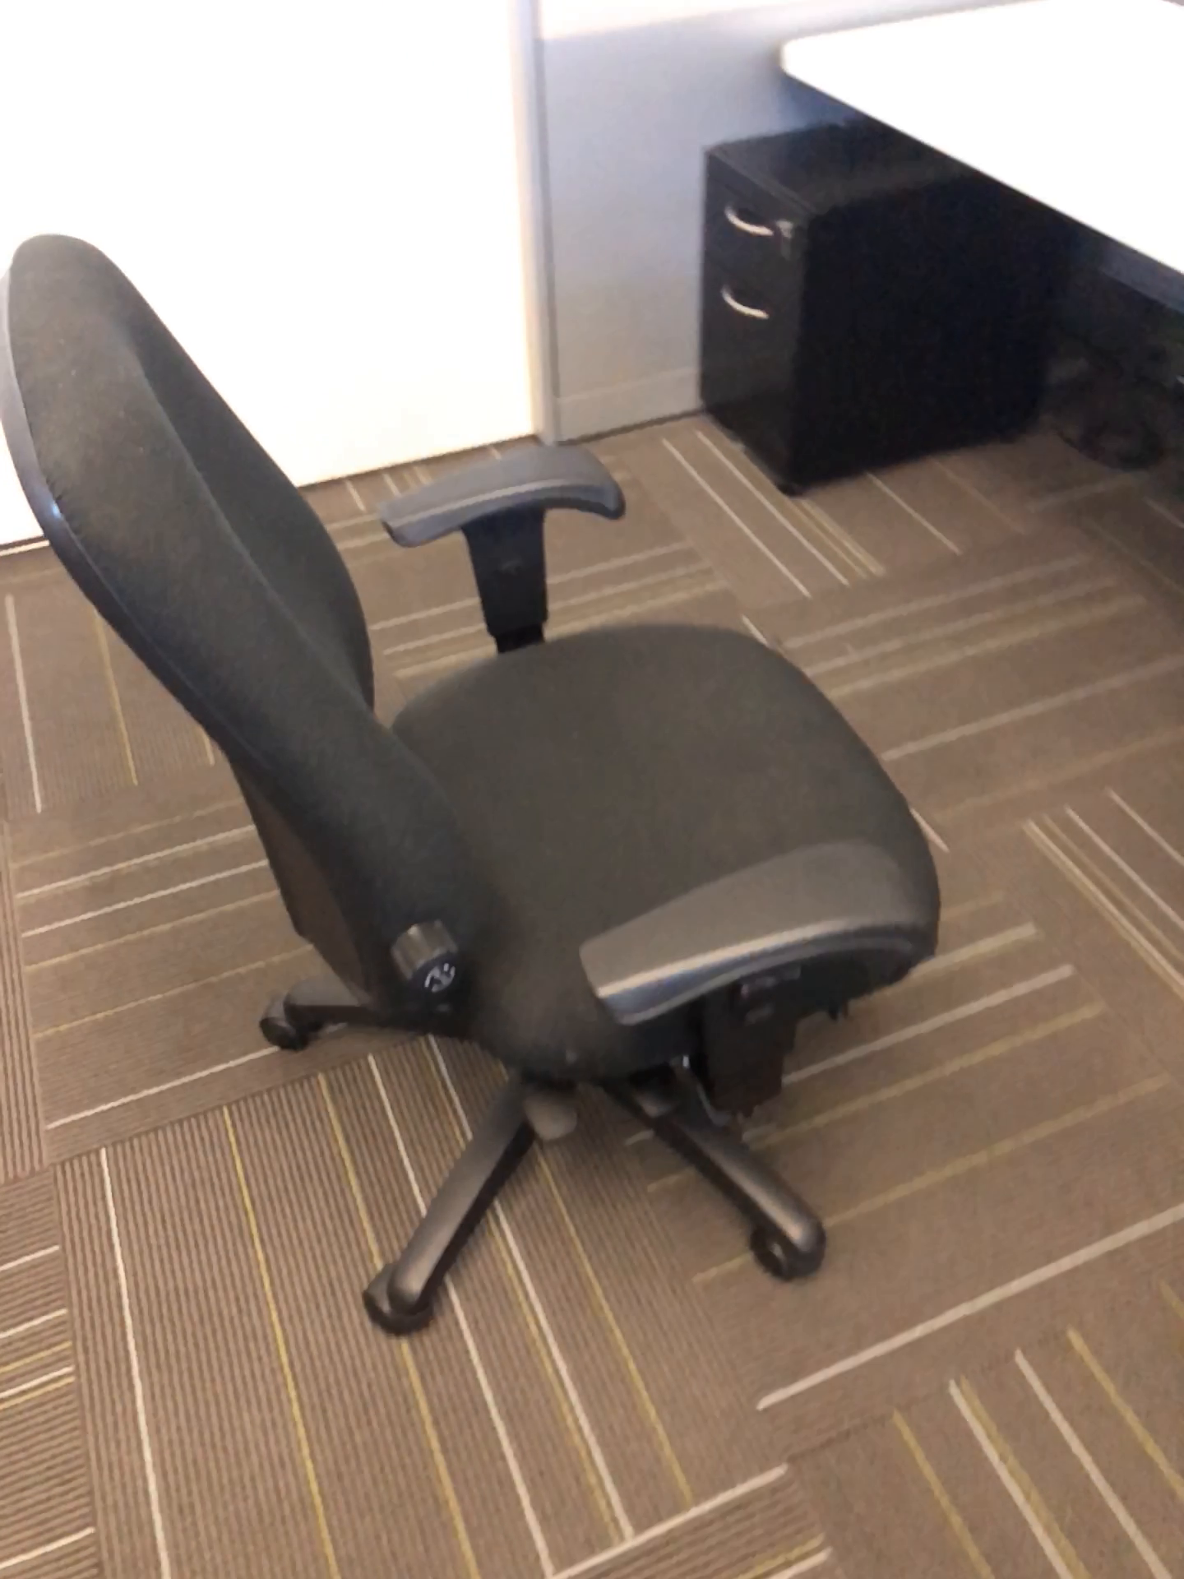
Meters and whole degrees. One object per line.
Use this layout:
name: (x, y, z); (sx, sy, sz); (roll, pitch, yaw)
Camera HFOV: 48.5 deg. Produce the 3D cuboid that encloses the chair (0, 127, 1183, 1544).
chair: (-0.070, 0.031, 1.256); (0.680, 0.955, 0.743); (-17, 44, -15)
